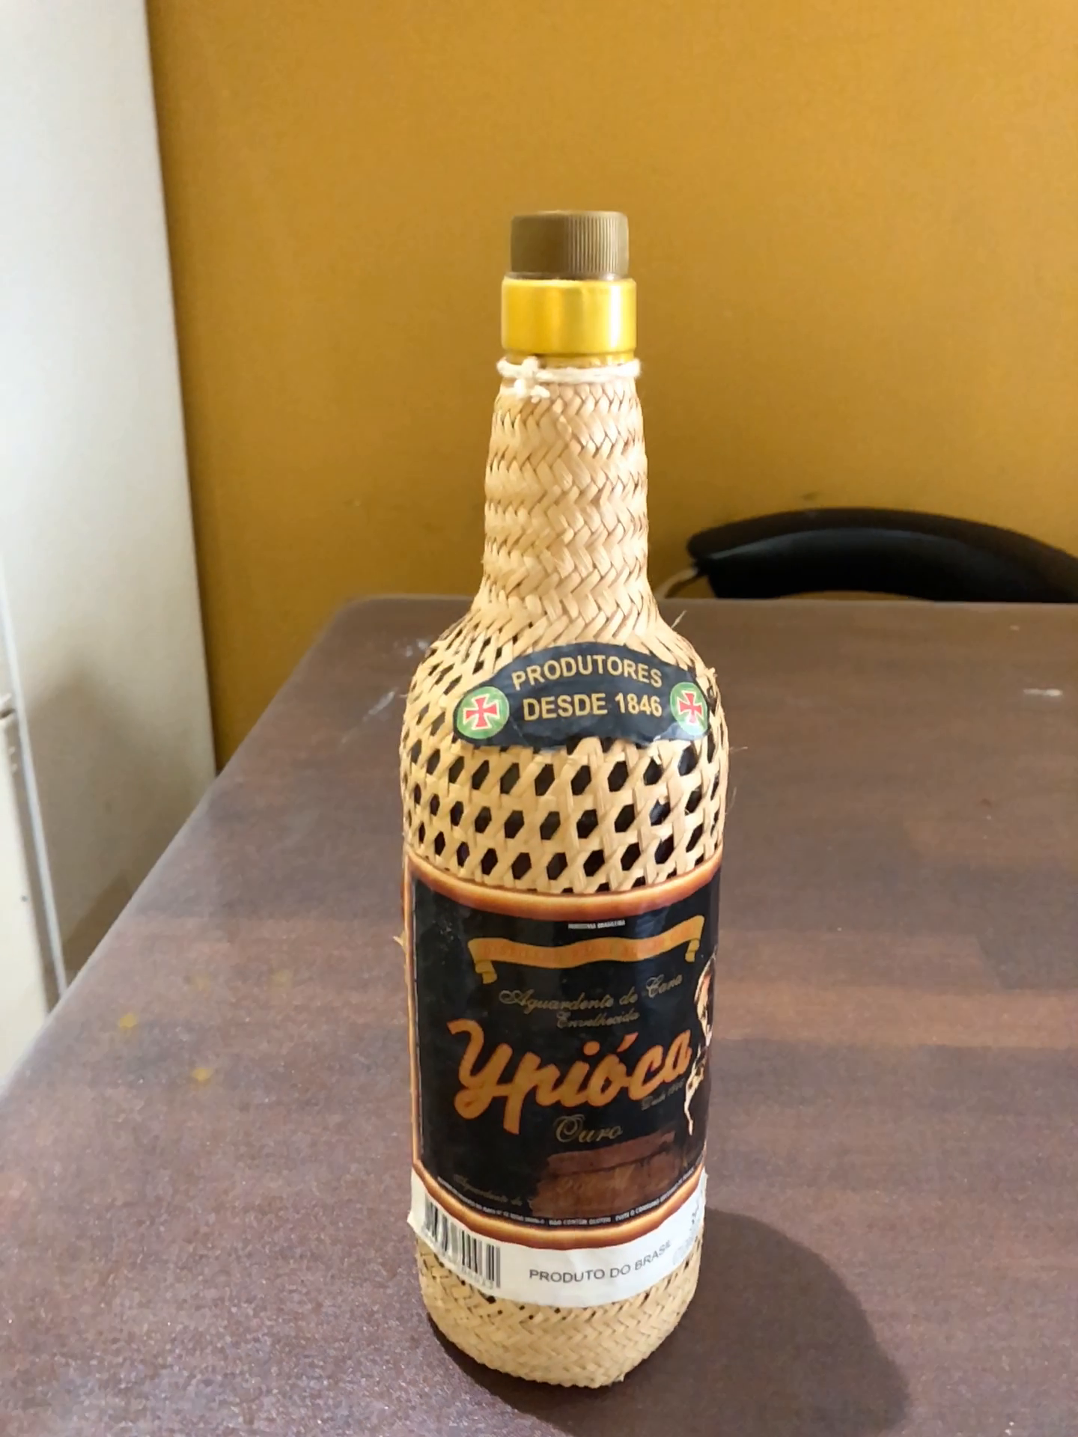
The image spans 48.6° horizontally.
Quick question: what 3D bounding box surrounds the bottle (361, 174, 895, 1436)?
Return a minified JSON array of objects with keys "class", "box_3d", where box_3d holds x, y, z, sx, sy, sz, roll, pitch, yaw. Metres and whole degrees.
[{"class":"bottle","box_3d":[0.014,0.030,0.336,0.100,0.328,0.090,-6,21,-16]}]
